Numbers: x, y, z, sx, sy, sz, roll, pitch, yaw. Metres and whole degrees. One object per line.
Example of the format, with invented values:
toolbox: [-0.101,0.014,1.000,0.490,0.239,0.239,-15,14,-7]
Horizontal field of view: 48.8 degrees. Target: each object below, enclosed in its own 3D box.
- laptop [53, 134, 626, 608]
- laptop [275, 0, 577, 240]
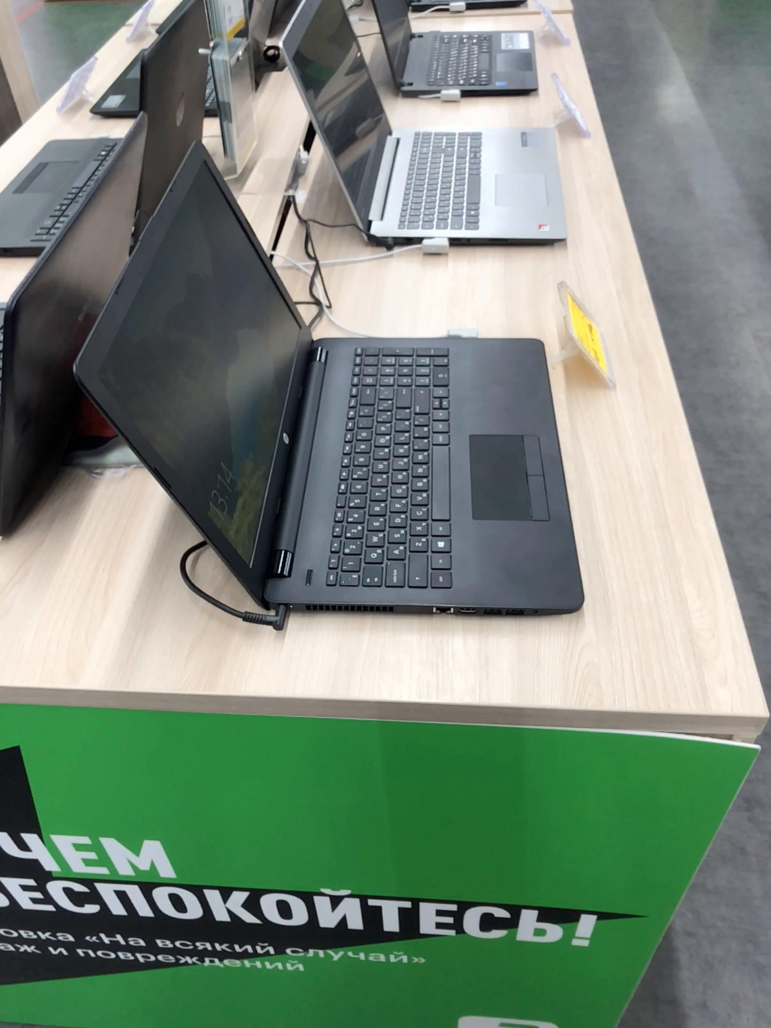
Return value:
laptop: [-0.016,-0.139,0.716,0.341,0.217,0.378,1,43,3]
laptop: [0.066,-0.577,1.159,0.338,0.226,0.372,3,45,5]
